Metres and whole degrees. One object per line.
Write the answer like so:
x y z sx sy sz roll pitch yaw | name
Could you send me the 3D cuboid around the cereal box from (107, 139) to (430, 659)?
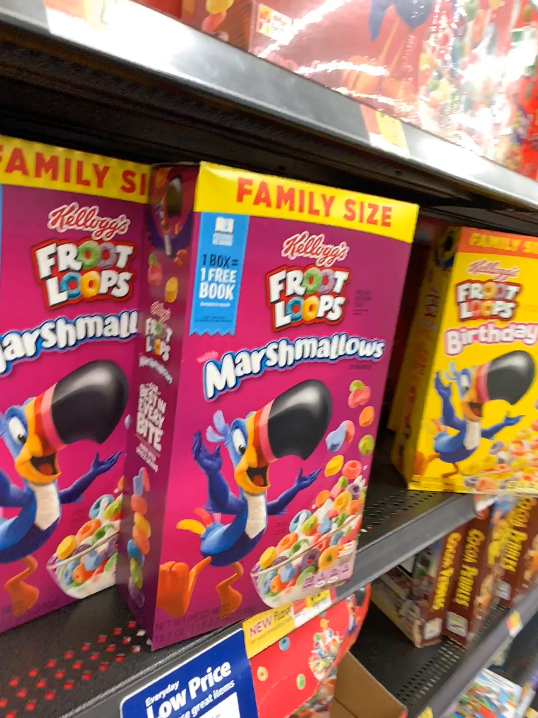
-0.004 0.029 0.433 0.200 0.339 0.080 -1 15 -35 | cereal box
